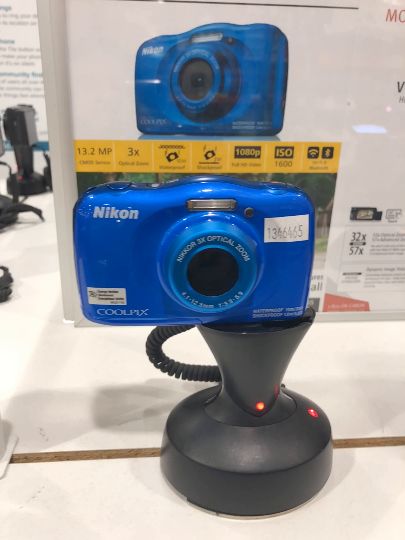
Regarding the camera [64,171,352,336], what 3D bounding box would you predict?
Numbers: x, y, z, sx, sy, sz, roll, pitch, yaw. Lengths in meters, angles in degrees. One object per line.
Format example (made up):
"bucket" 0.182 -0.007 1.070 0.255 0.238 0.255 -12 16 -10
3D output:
"camera" 0.001 -0.010 0.201 0.110 0.060 0.040 -1 21 -8
